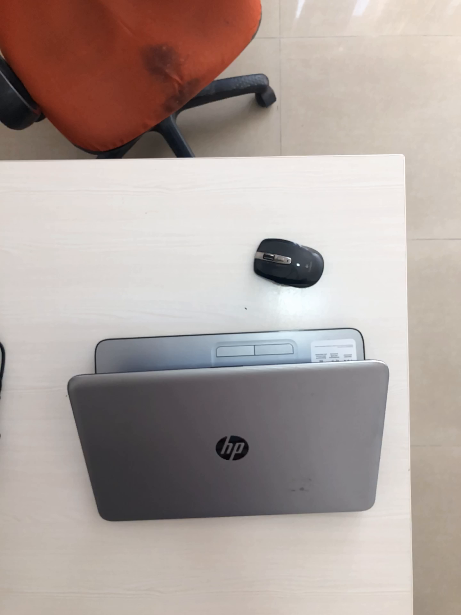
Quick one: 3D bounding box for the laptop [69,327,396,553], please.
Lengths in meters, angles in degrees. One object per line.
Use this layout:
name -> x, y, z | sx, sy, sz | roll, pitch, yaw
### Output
laptop -> 0.001, 0.159, 0.660 | 0.369, 0.121, 0.251 | -3, 90, 2
